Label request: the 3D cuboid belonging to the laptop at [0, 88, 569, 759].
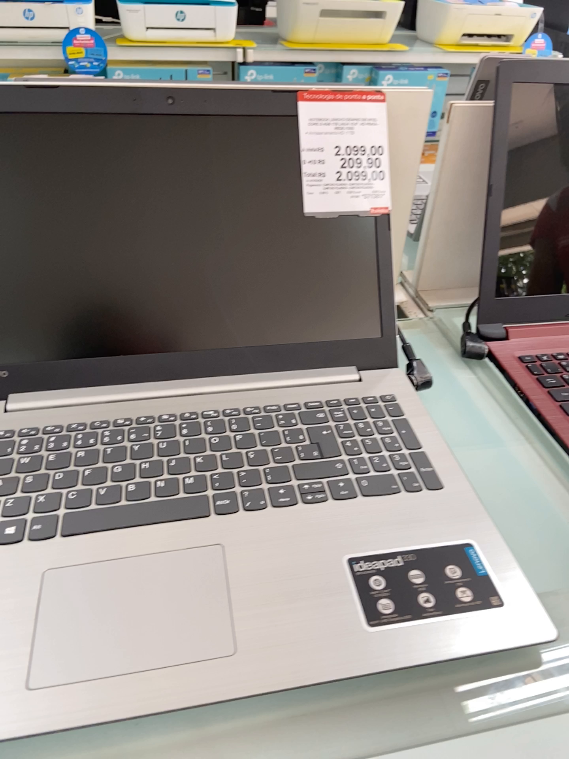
[{"bbox_3d":[-0.062,-0.039,0.383,0.370,0.194,0.391,-5,38,-10],"label":"laptop"}]
